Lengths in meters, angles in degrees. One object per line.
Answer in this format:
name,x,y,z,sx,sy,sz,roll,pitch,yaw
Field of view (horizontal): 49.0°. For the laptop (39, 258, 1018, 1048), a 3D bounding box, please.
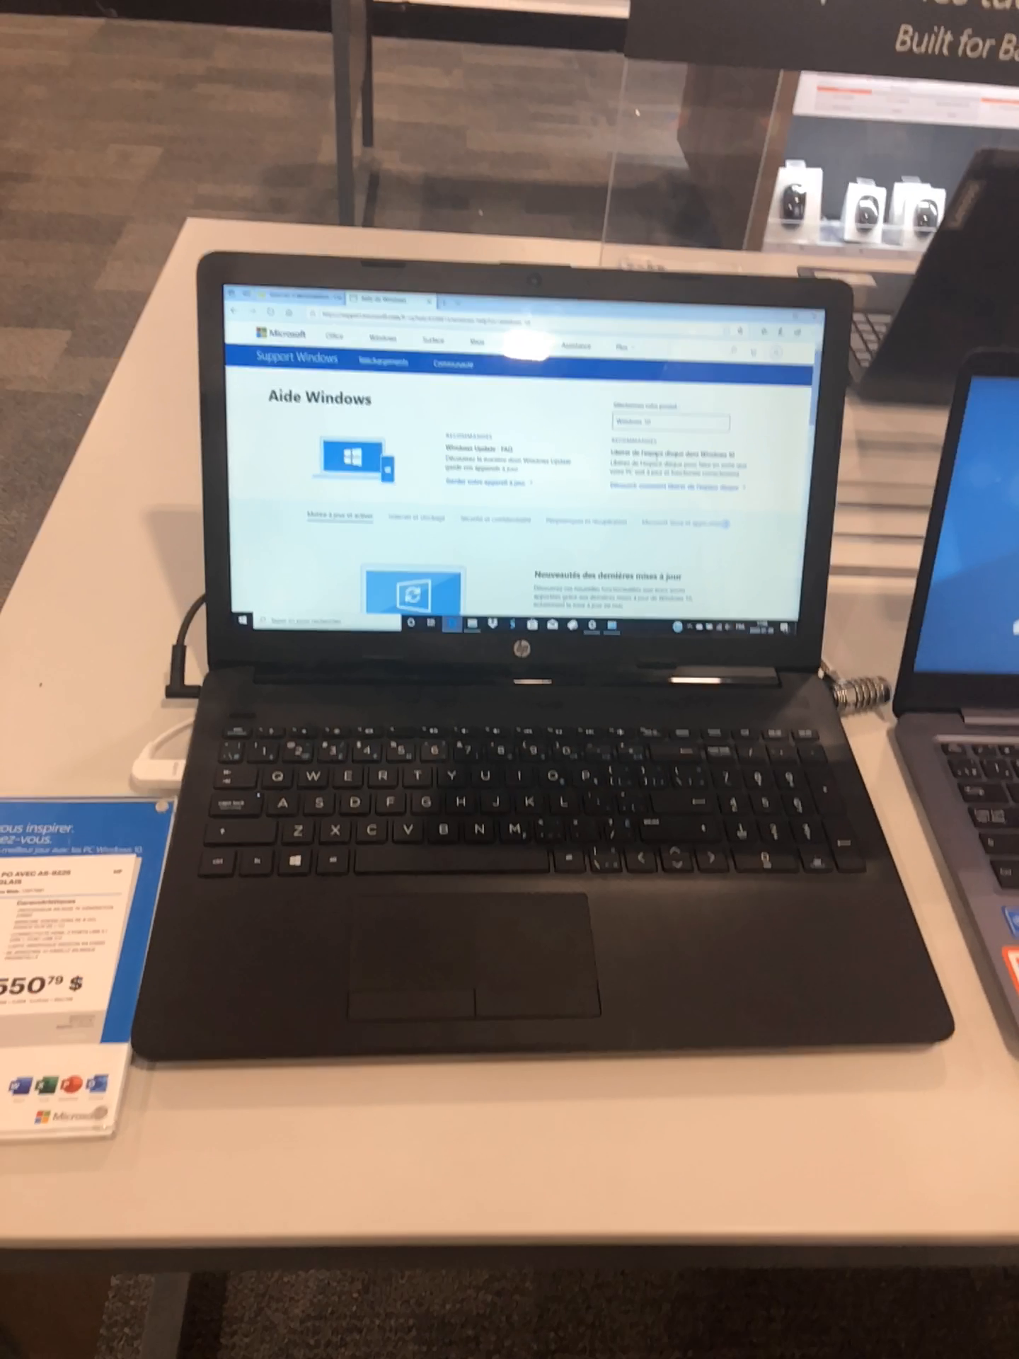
laptop,0.015,-0.034,0.553,0.356,0.195,0.361,0,43,-4
